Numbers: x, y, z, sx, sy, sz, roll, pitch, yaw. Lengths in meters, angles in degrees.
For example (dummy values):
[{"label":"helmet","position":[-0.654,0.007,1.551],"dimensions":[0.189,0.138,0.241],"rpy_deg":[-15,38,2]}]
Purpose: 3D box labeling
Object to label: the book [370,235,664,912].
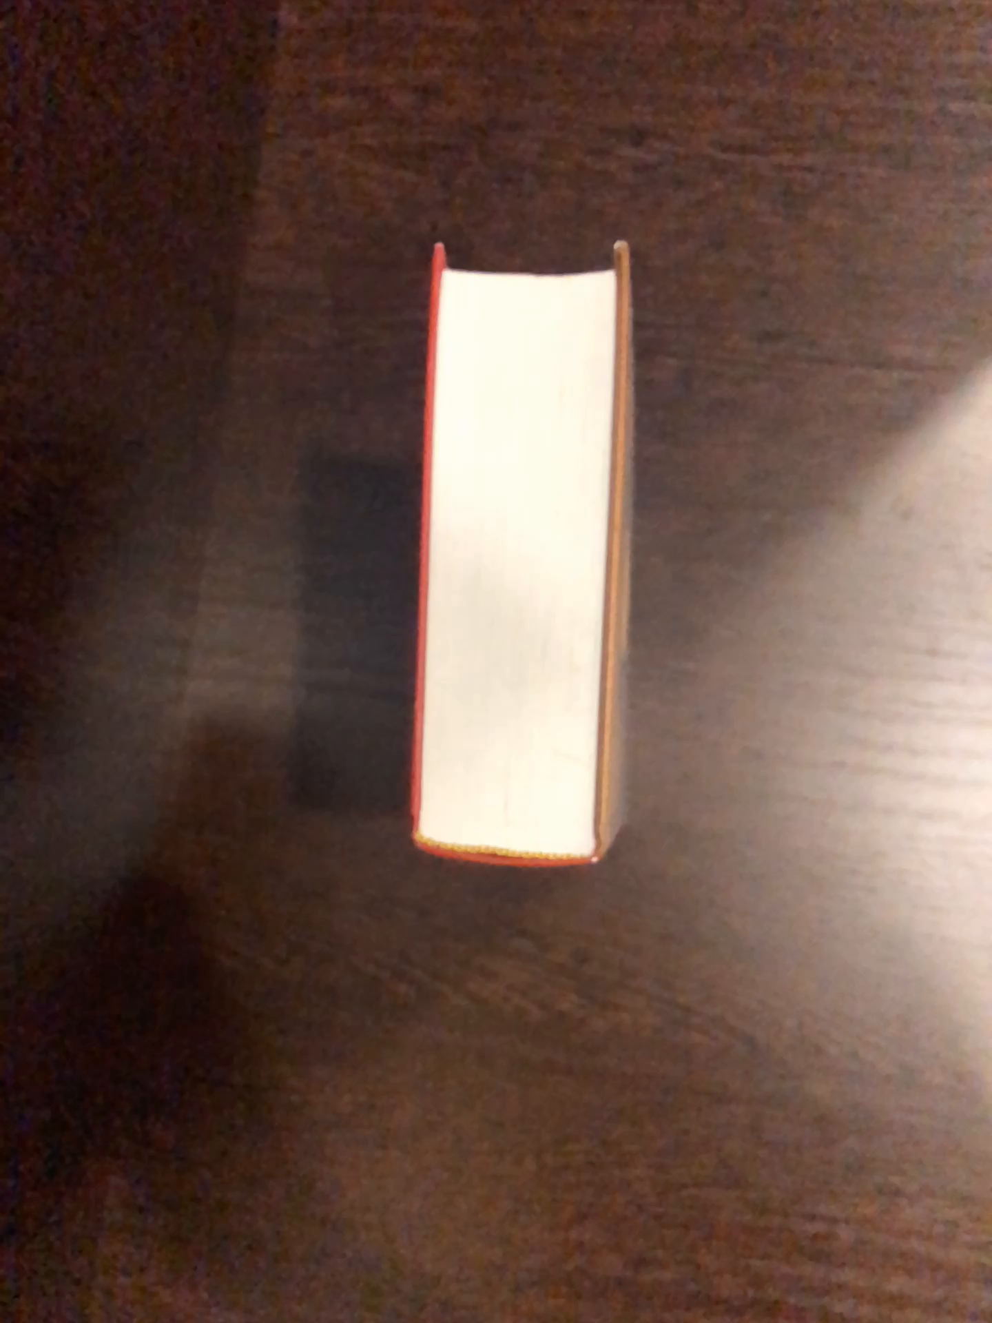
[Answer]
[{"label":"book","position":[0.014,-0.010,0.326],"dimensions":[0.054,0.201,0.137],"rpy_deg":[2,85,5]}]
